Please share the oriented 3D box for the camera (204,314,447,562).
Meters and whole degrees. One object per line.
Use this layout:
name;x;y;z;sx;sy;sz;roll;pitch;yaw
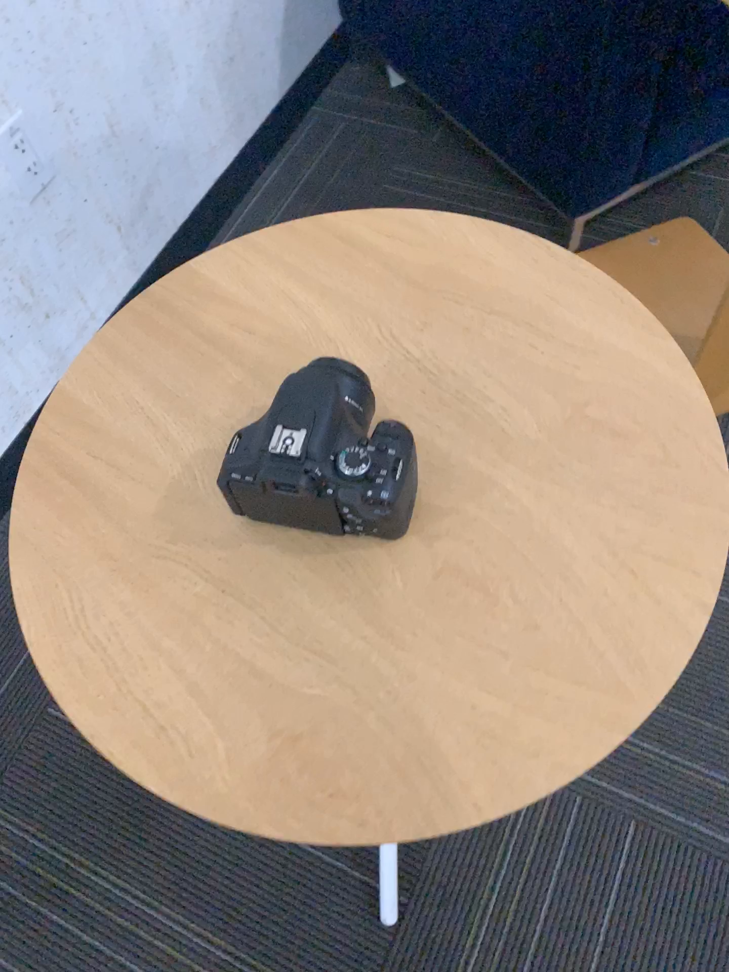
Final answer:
camera;-0.018;-0.034;0.525;0.130;0.100;0.120;10;62;12
